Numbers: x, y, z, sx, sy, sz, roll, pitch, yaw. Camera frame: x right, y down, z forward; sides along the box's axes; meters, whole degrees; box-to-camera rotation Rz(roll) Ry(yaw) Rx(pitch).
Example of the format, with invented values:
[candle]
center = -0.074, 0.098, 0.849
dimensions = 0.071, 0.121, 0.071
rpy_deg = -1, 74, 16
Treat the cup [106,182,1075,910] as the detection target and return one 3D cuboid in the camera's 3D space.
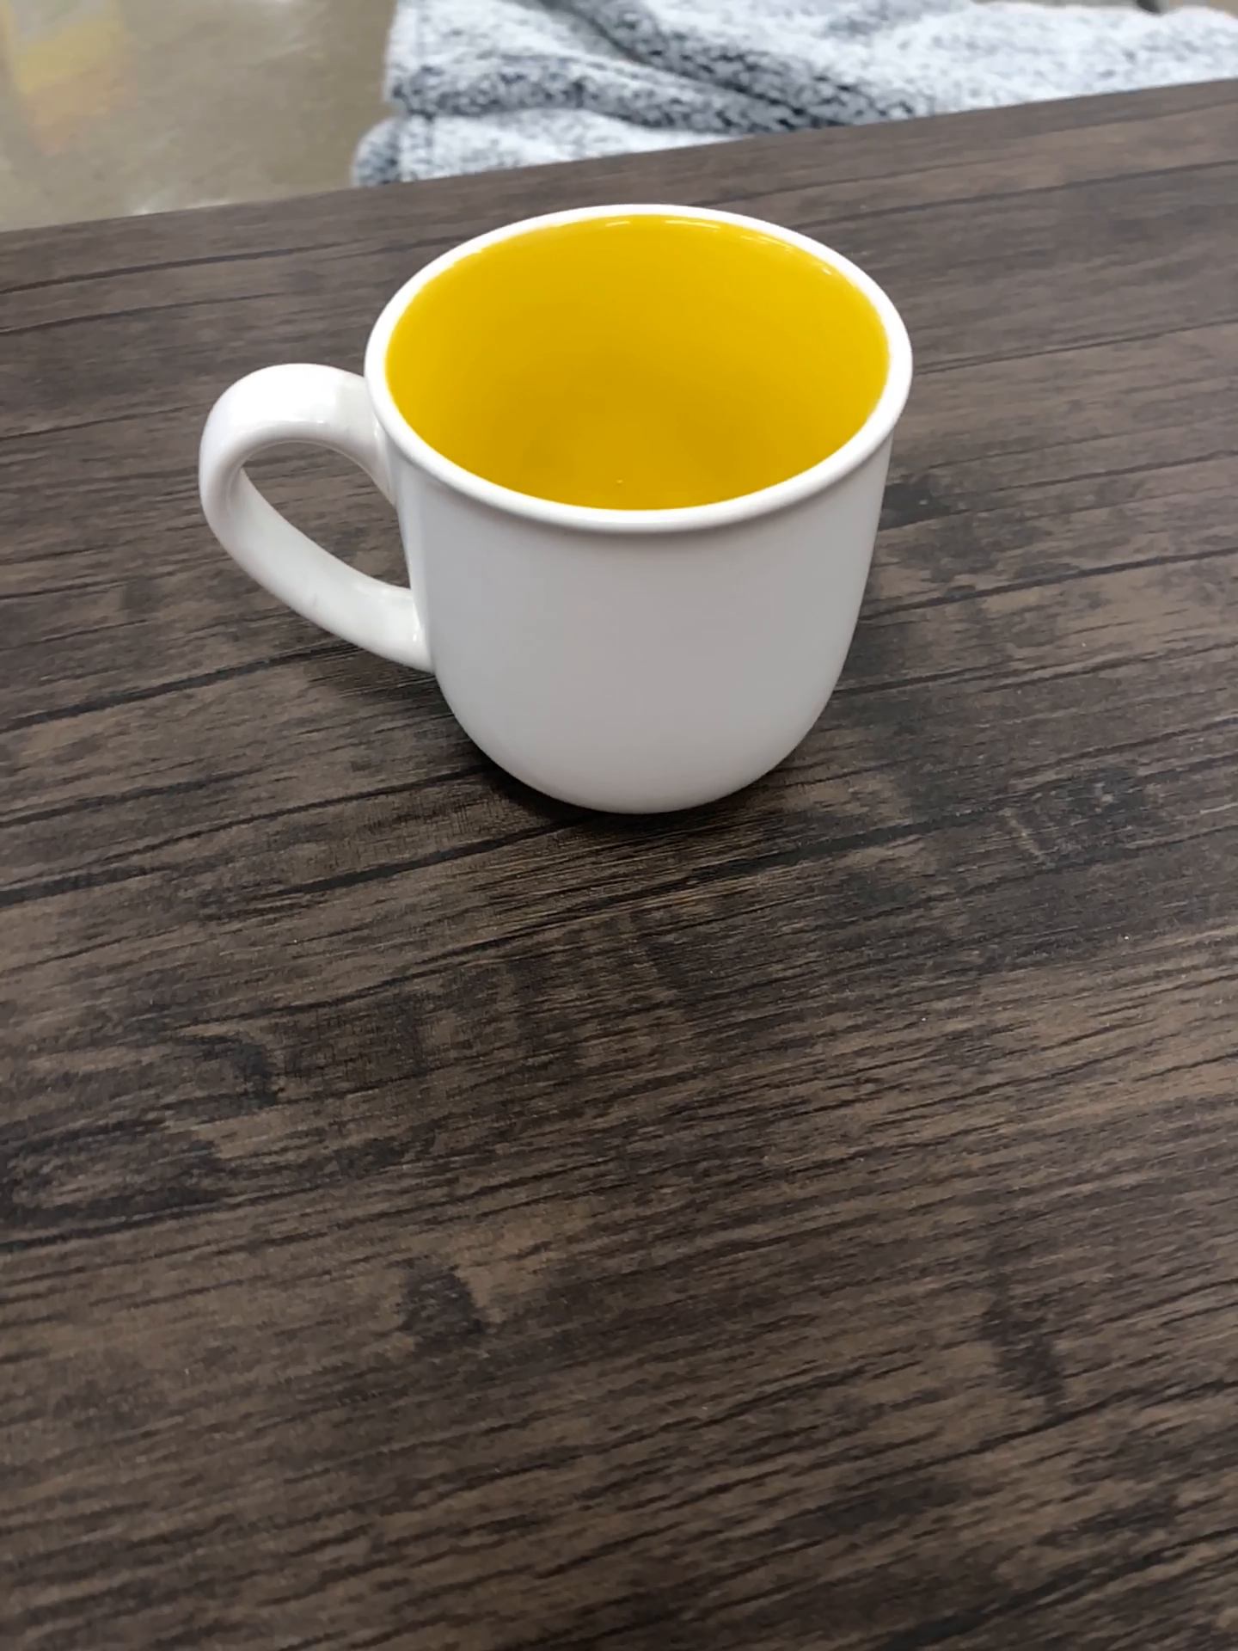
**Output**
[cup]
center = -0.006, -0.053, 0.266
dimensions = 0.140, 0.090, 0.100
rpy_deg = -2, 52, -2
